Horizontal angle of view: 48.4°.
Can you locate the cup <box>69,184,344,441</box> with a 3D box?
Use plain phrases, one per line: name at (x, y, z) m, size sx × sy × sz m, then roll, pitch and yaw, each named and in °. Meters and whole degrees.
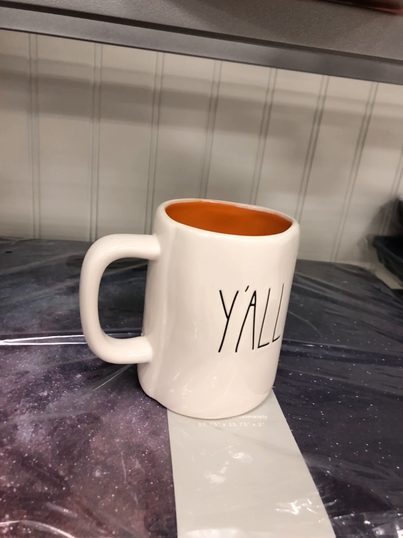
cup at (-0.009, 0.019, 0.284) m, size 0.140 × 0.119 × 0.091 m, roll -1°, pitch 23°, yaw -19°
